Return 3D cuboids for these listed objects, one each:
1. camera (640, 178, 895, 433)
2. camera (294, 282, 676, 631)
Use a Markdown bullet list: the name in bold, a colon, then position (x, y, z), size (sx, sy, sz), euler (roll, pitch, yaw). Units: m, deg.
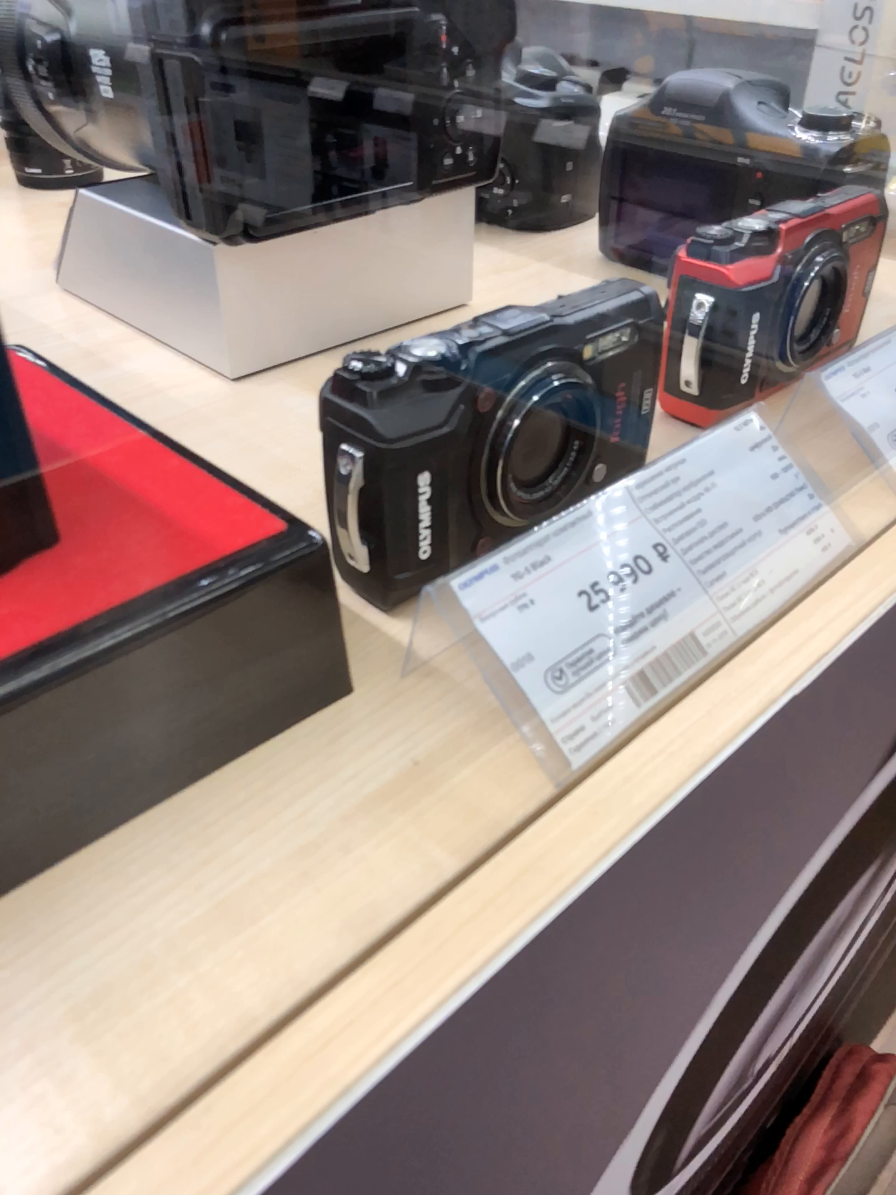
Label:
- **camera**: position (0.122, -0.110, 0.362), size (0.117, 0.060, 0.030), euler (-28, 45, -34)
- **camera**: position (0.014, -0.045, 0.285), size (0.117, 0.060, 0.030), euler (-28, 45, -34)
